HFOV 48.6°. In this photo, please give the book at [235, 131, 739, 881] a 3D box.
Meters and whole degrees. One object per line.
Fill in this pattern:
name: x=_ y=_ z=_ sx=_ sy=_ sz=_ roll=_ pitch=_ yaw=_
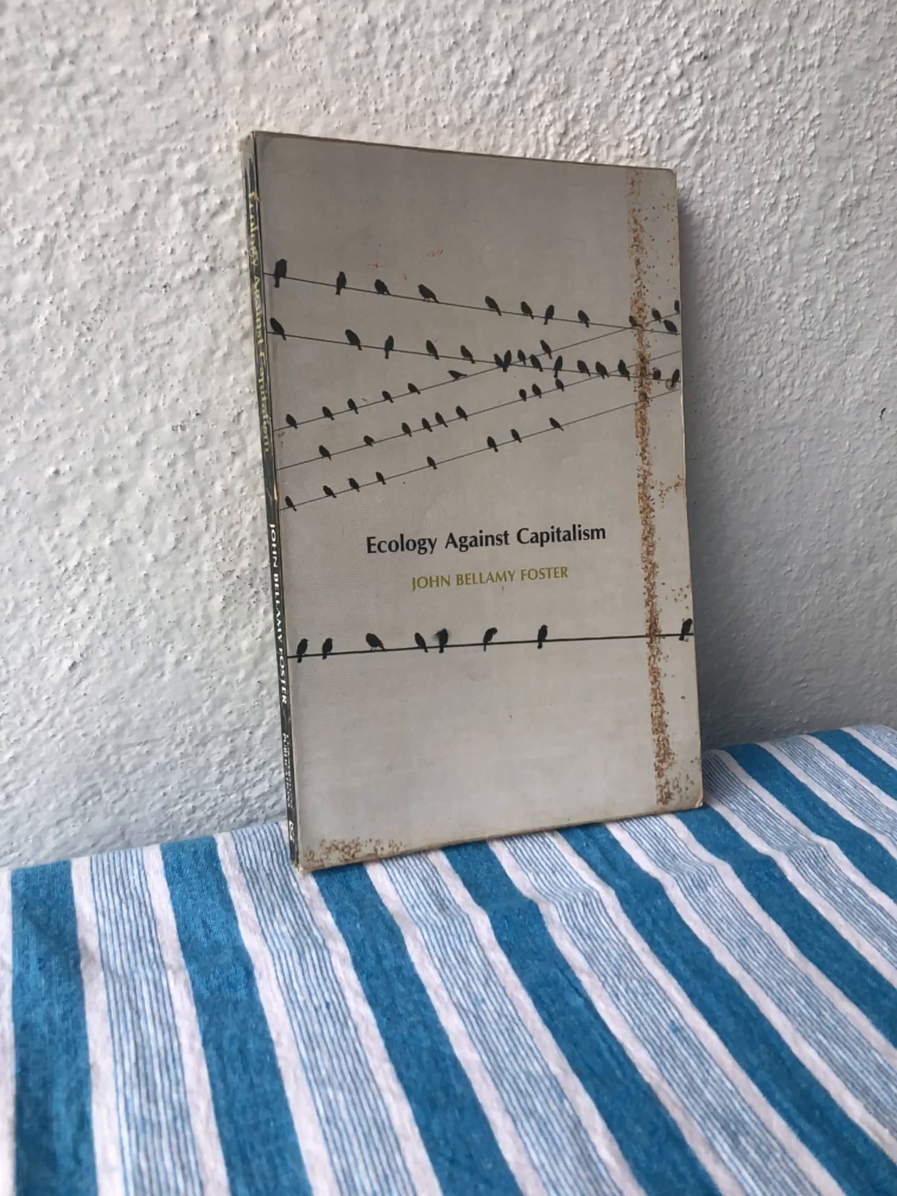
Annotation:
book: x=0.014 y=-0.031 z=0.312 sx=0.140 sy=0.210 sz=0.030 roll=-5 pitch=2 yaw=-17
